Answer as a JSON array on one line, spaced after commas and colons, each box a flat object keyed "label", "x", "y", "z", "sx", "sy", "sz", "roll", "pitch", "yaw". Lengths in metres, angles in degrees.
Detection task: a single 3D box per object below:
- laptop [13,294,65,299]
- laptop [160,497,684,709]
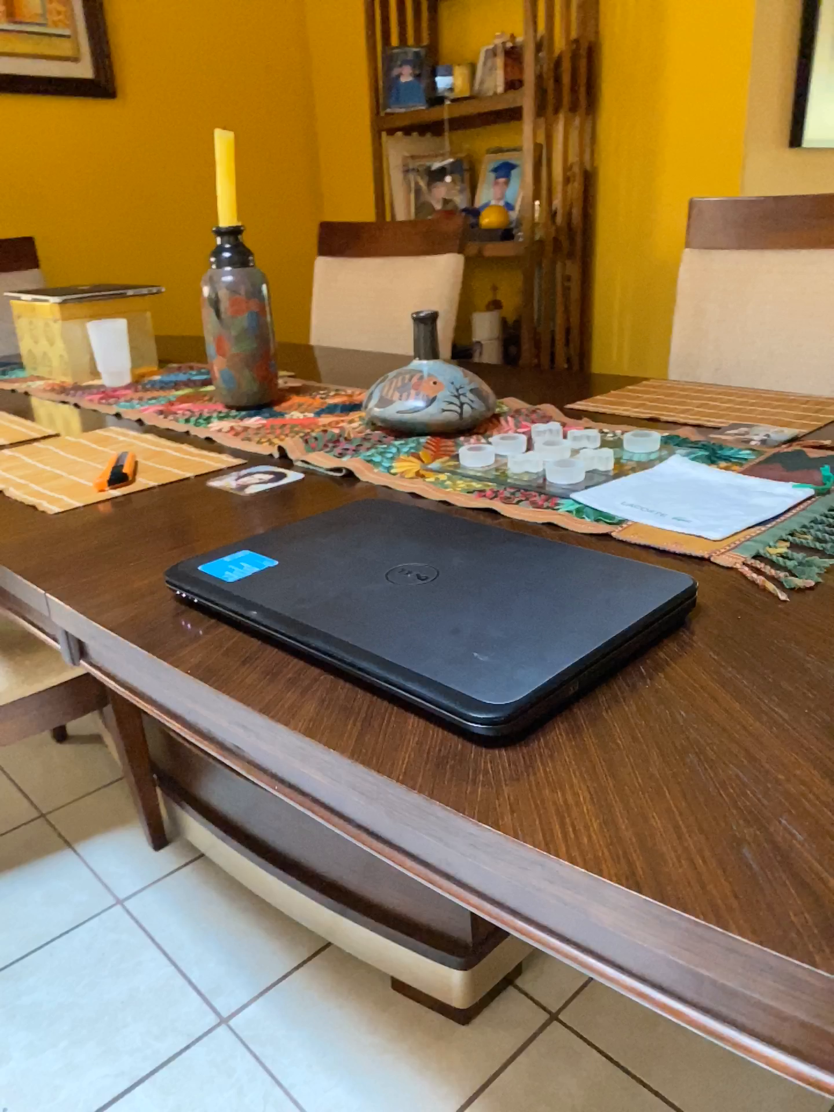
[{"label": "laptop", "x": -0.788, "y": -0.539, "z": 1.772, "sx": 0.280, "sy": 0.003, "sz": 0.002, "roll": 18, "pitch": 59, "yaw": 44}, {"label": "laptop", "x": -0.006, "y": 0.014, "z": 0.697, "sx": 0.353, "sy": 0.001, "sz": 0.248, "roll": 17, "pitch": 29, "yaw": 41}]
